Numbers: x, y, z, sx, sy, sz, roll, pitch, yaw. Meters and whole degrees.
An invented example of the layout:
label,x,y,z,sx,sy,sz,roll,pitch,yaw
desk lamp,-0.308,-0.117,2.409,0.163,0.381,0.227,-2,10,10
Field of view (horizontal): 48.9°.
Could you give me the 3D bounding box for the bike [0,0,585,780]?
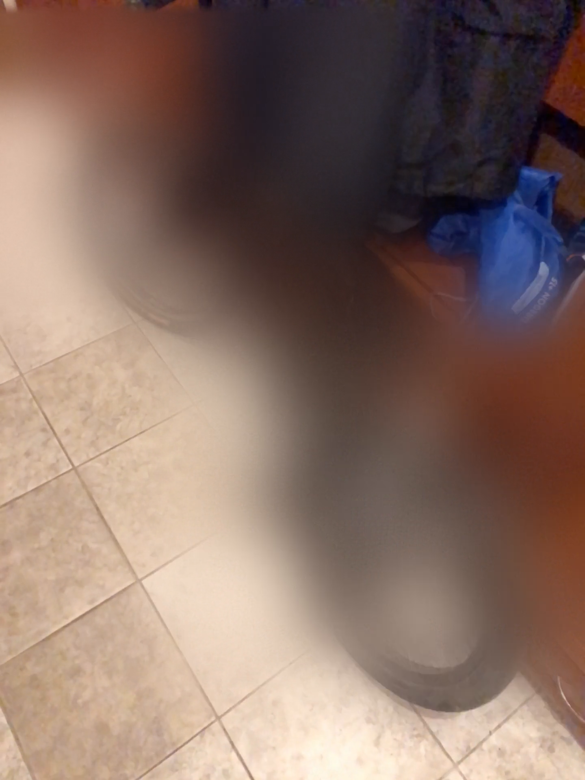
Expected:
label,x,y,z,sx,sy,sz,roll,pitch,yaw
bike,-0.027,-0.168,1.071,0.527,0.854,1.356,-27,63,-19
